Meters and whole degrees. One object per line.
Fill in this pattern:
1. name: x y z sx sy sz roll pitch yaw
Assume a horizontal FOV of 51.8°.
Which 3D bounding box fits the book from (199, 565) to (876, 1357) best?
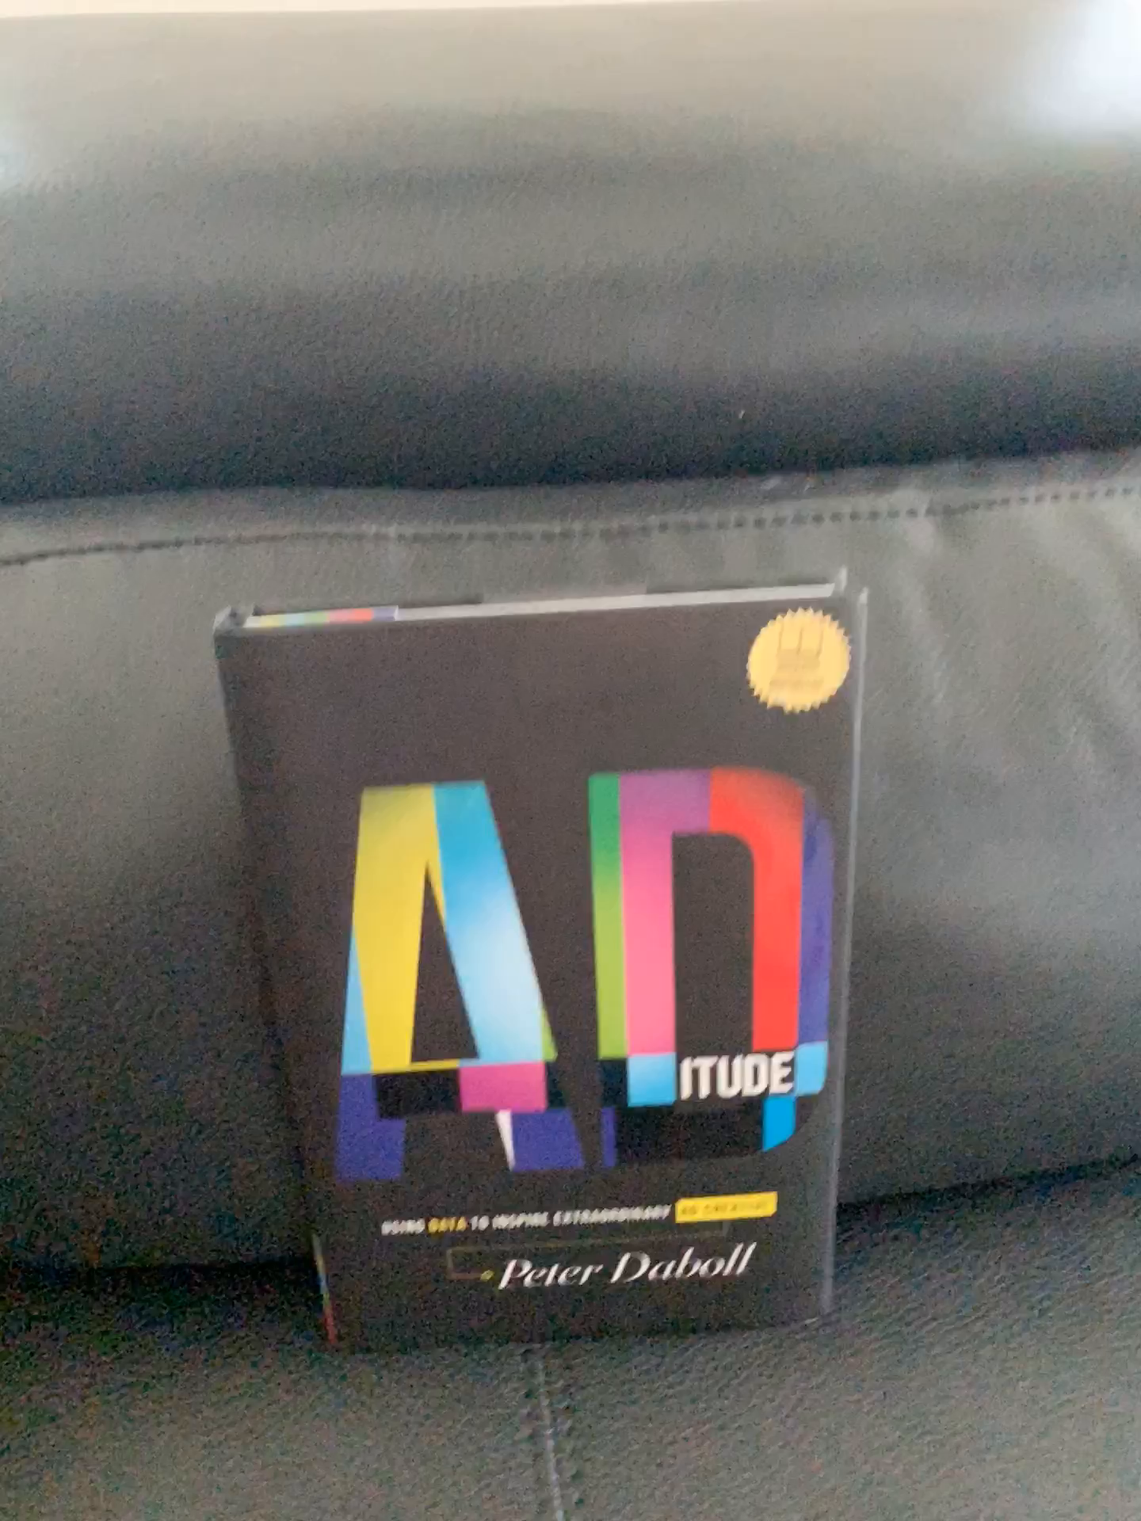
1. book: -0.002 0.068 0.334 0.160 0.235 0.025 -3 22 -1
